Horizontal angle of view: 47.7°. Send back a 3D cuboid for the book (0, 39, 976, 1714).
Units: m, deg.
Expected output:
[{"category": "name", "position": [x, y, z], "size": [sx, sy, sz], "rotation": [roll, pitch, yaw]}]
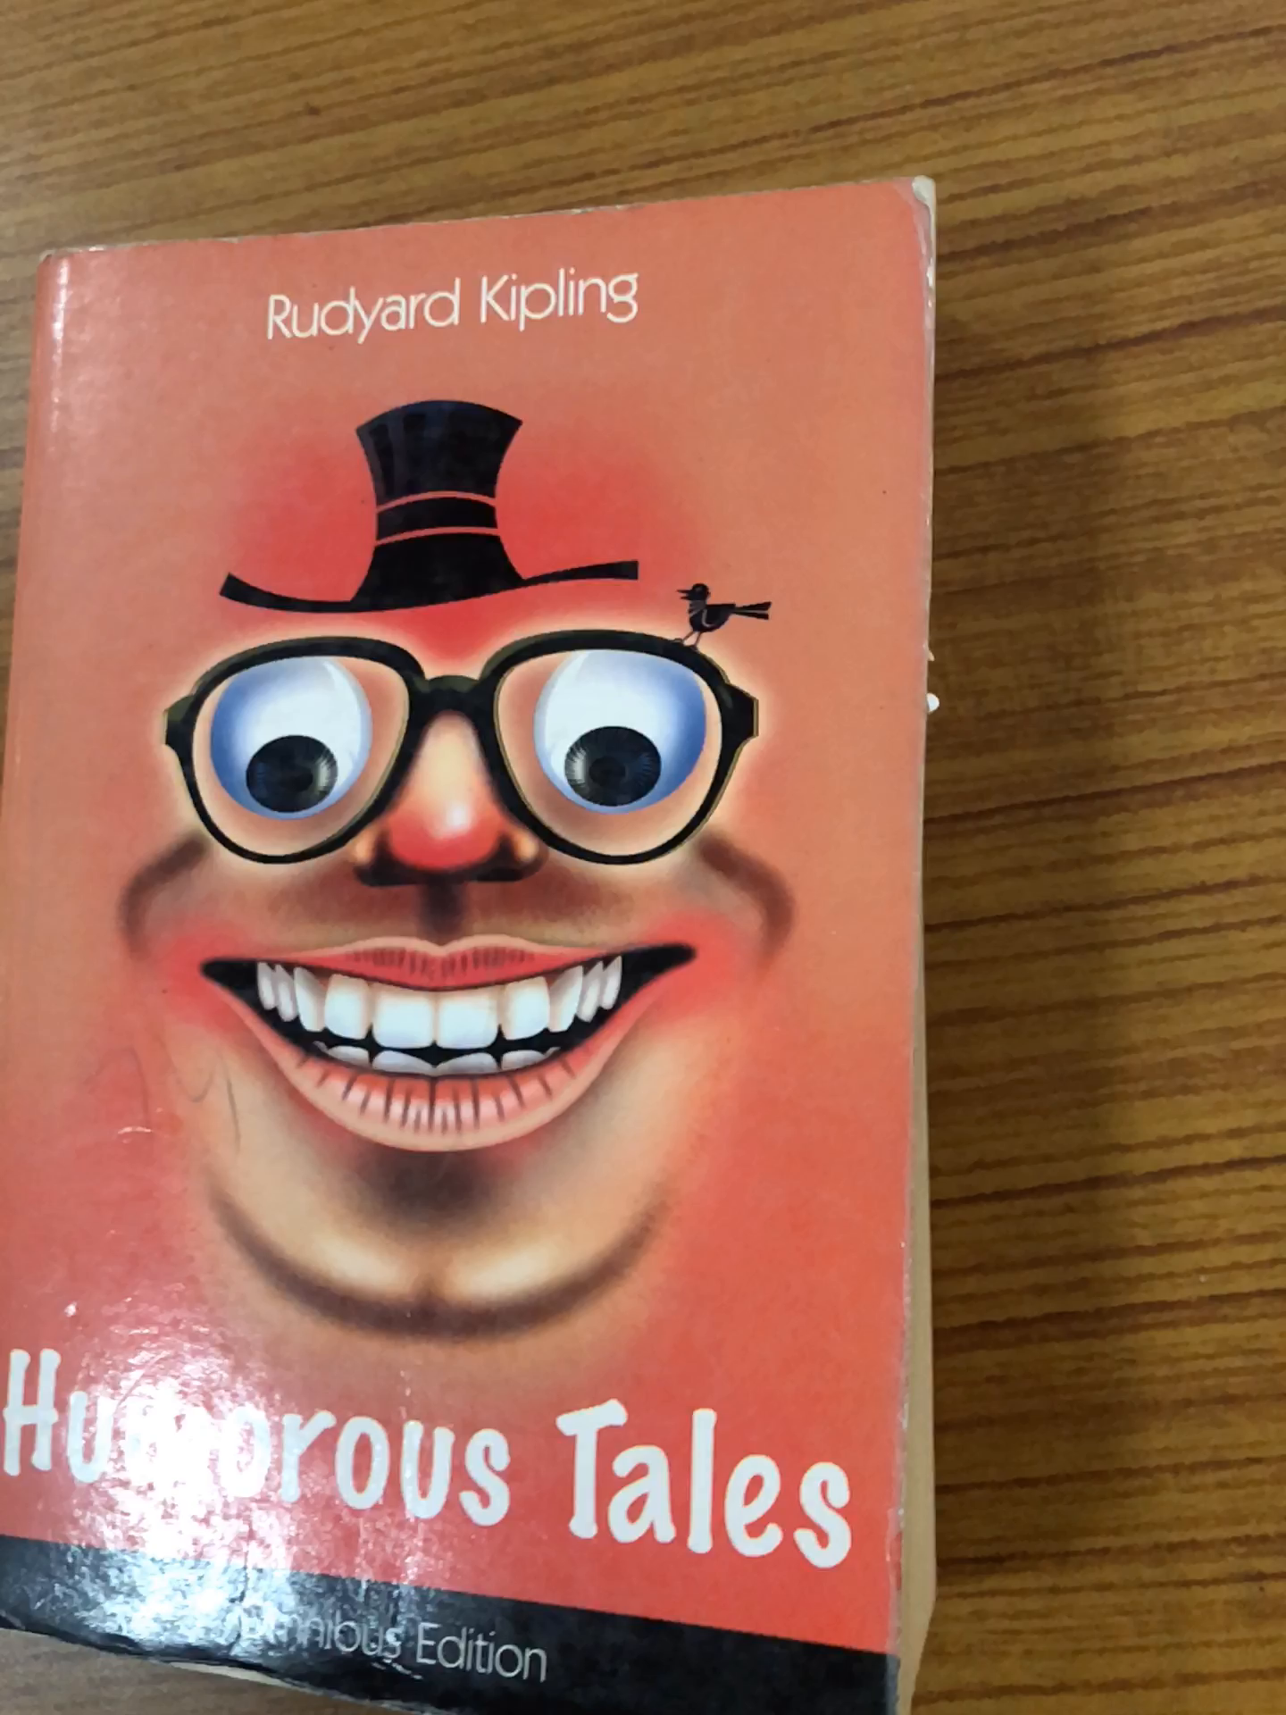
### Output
[{"category": "book", "position": [-0.024, 0.003, 0.196], "size": [0.130, 0.040, 0.190], "rotation": [-1, 83, 18]}]
